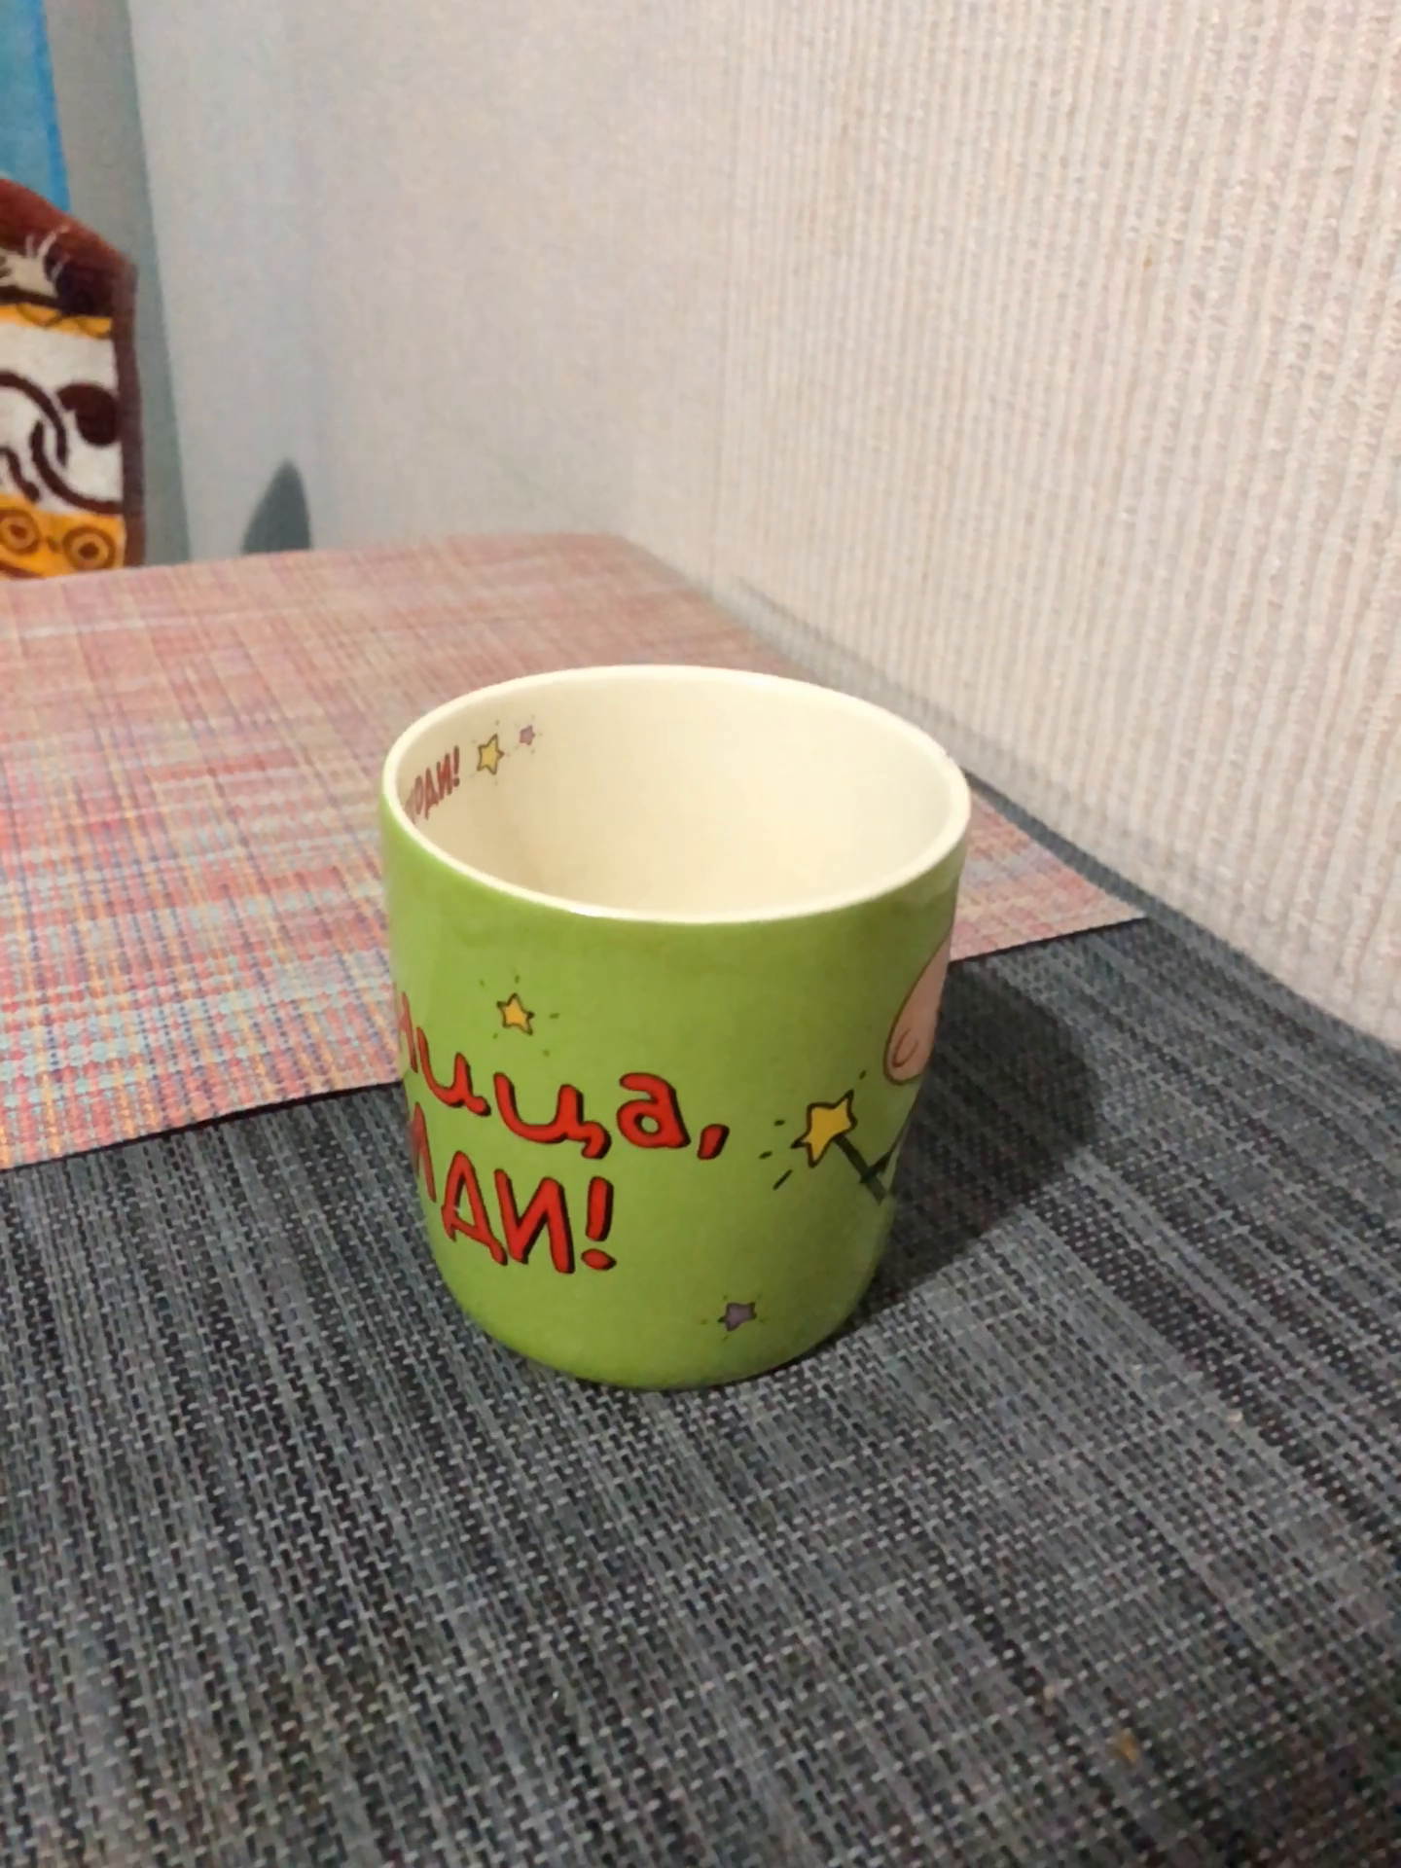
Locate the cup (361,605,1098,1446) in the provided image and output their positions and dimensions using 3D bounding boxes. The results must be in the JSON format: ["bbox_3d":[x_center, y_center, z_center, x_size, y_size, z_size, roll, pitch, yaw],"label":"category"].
[{"bbox_3d":[-0.006,0.005,0.255,0.089,0.083,0.116,-2,30,-9],"label":"cup"}]
